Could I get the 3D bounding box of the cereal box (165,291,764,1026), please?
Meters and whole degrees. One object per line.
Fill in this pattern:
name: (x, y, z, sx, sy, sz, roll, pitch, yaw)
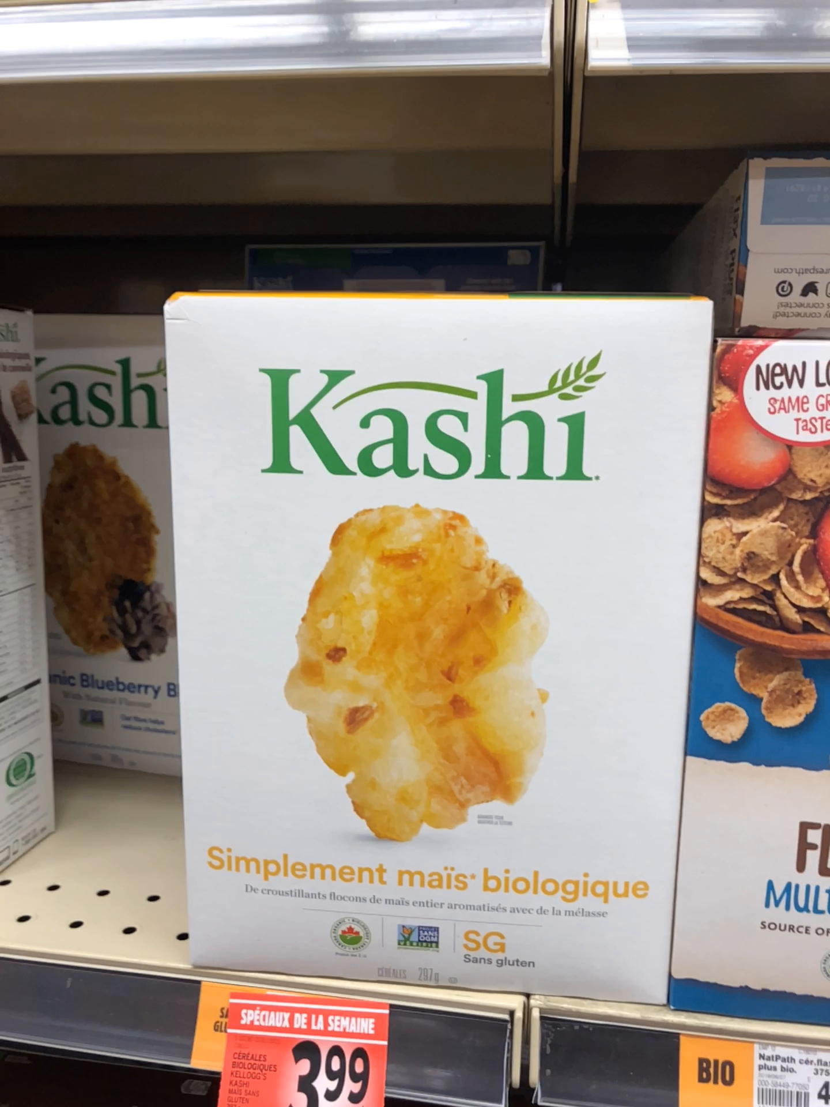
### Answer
cereal box: (0.014, 0.038, 0.364, 0.200, 0.269, 0.060, 2, 12, 6)
